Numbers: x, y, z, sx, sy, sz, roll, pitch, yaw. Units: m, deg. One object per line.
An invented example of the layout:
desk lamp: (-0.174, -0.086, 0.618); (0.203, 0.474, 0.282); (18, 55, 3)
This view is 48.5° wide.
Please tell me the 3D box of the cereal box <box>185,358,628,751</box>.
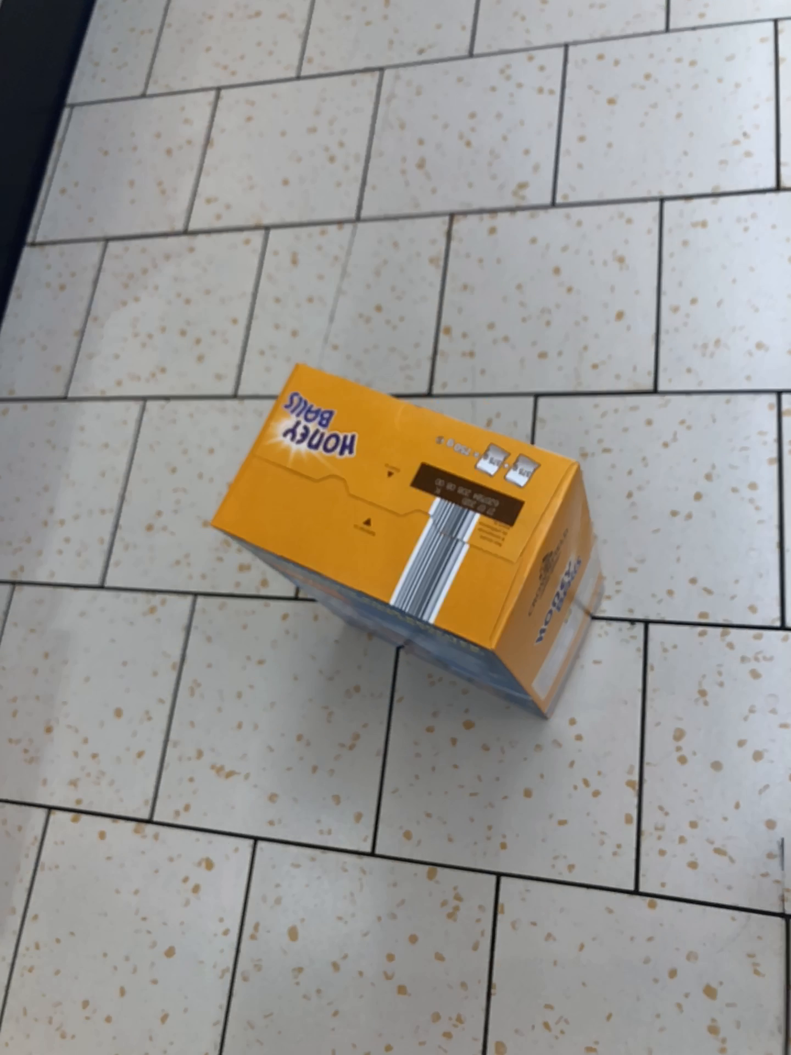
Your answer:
cereal box: (0.030, 0.033, 0.604); (0.210, 0.260, 0.130); (23, 78, 23)
